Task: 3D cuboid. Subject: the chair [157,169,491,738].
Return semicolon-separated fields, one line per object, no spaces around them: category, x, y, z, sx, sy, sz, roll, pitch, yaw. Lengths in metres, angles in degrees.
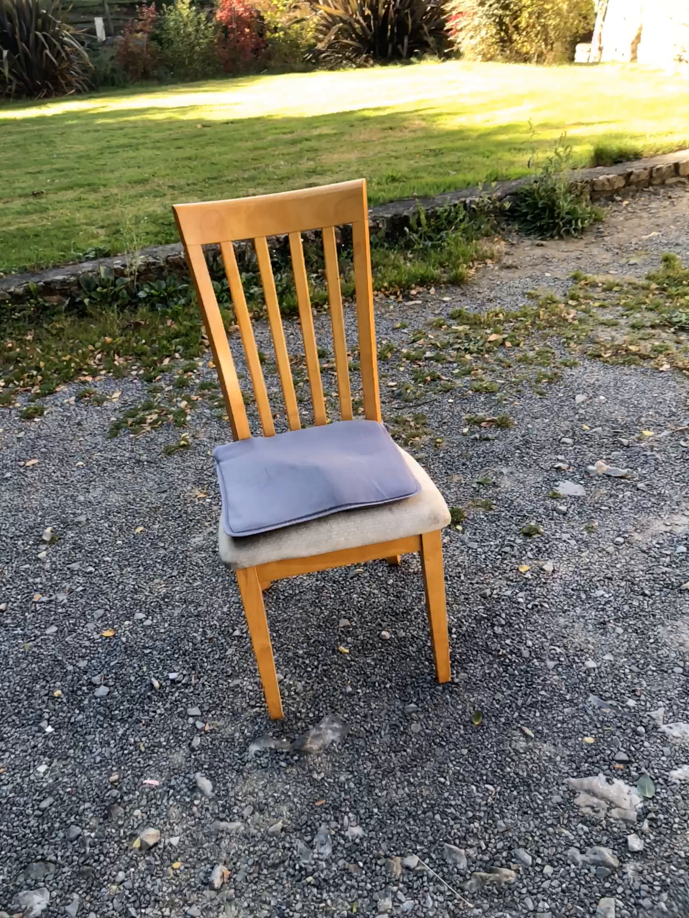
chair;-0.054;-0.032;1.632;0.511;0.994;0.613;-9;30;-9
